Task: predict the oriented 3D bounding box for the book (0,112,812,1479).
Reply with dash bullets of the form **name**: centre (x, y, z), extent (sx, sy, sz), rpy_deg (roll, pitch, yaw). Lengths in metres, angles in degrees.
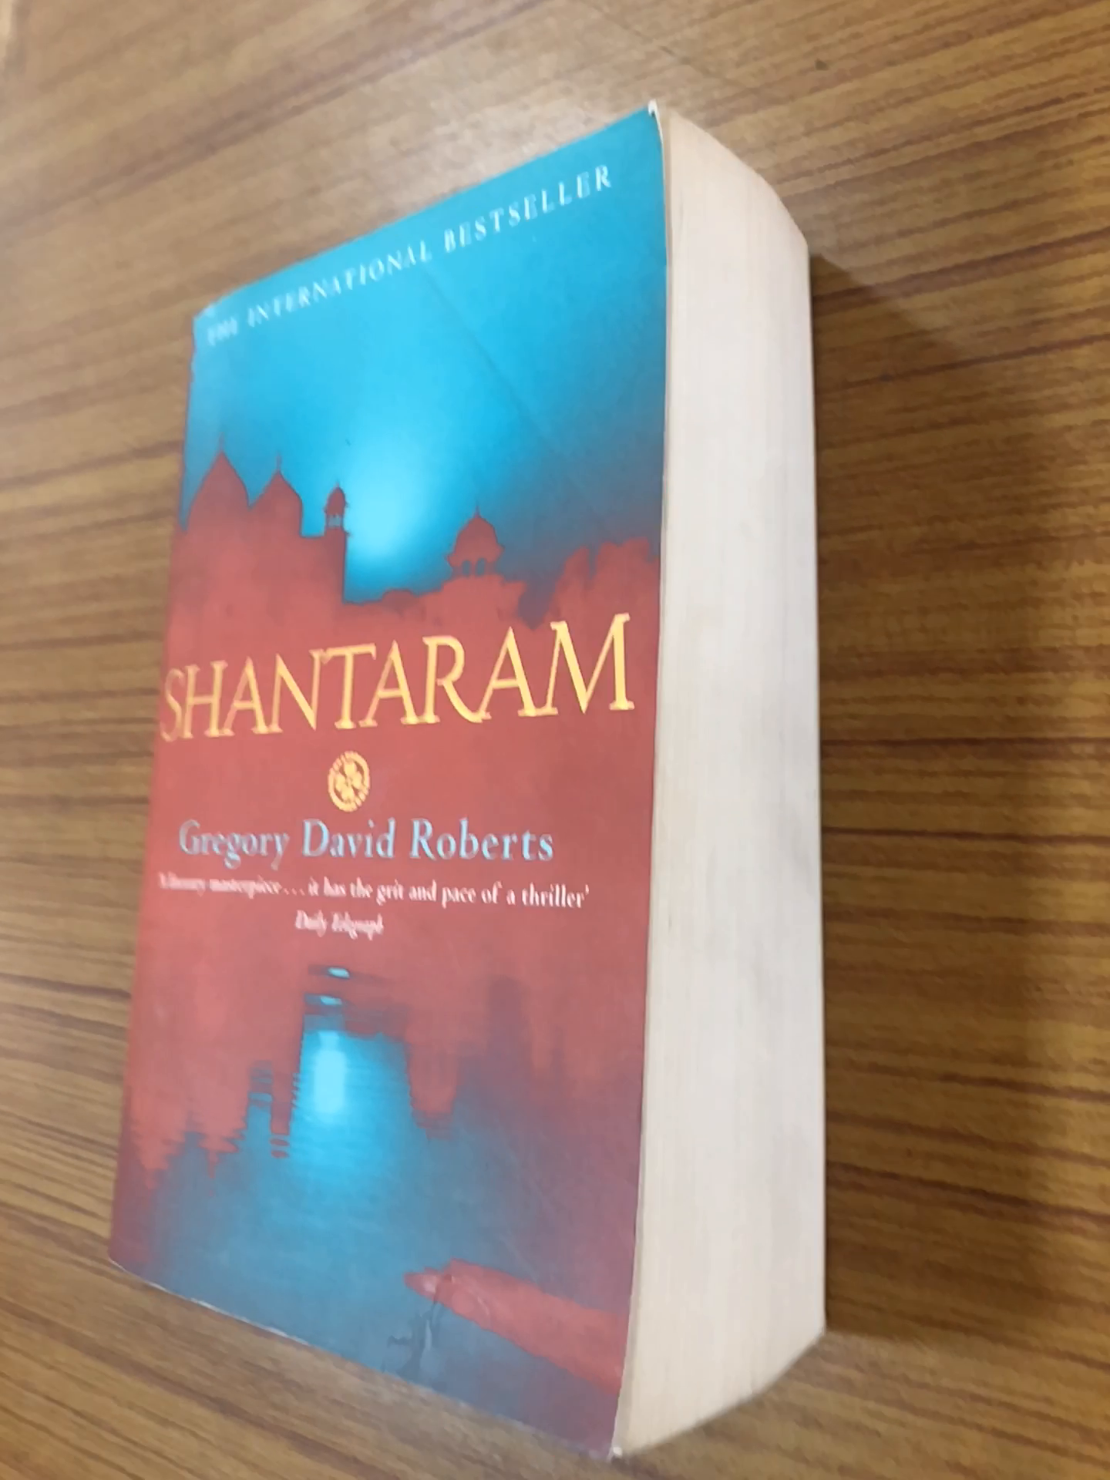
- **book**: centre (-0.032, 0.009, 0.236), extent (0.151, 0.050, 0.190), rpy_deg (-5, 80, 36)
